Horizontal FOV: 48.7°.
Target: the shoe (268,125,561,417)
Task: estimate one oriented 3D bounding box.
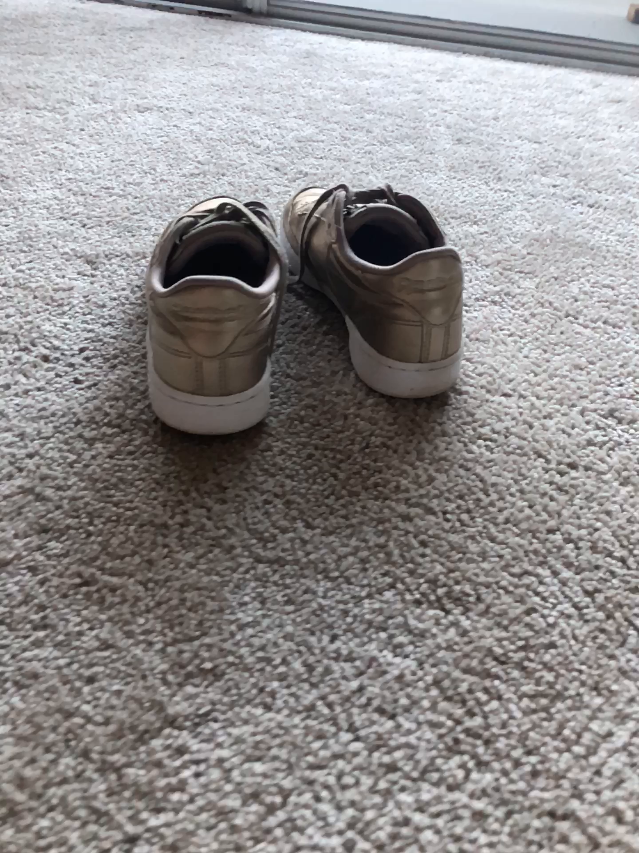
[{"bbox_3d":[0.042,-0.126,0.488,0.110,0.070,0.281,-4,41,-12],"label":"shoe"}]

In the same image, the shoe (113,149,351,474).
[{"bbox_3d":[-0.059,-0.093,0.458,0.110,0.070,0.281,-1,40,-8],"label":"shoe"}]
